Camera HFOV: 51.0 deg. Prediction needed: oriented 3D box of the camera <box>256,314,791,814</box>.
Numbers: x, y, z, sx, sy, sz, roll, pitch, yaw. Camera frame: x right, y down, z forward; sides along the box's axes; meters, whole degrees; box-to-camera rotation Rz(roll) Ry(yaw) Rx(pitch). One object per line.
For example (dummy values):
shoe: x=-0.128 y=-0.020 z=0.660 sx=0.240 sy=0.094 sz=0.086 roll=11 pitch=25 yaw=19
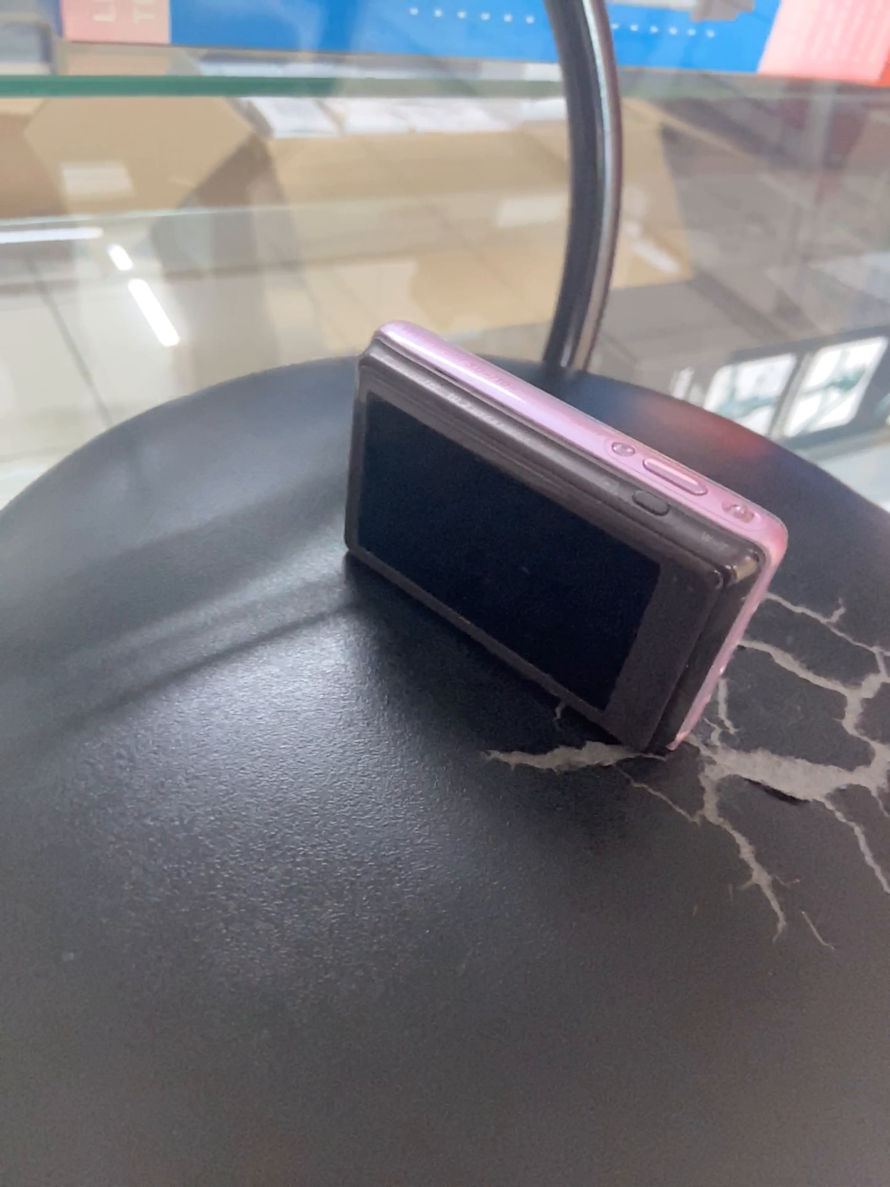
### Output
camera: x=0.008 y=-0.009 z=0.187 sx=0.100 sy=0.050 sz=0.030 roll=33 pitch=47 yaw=22
